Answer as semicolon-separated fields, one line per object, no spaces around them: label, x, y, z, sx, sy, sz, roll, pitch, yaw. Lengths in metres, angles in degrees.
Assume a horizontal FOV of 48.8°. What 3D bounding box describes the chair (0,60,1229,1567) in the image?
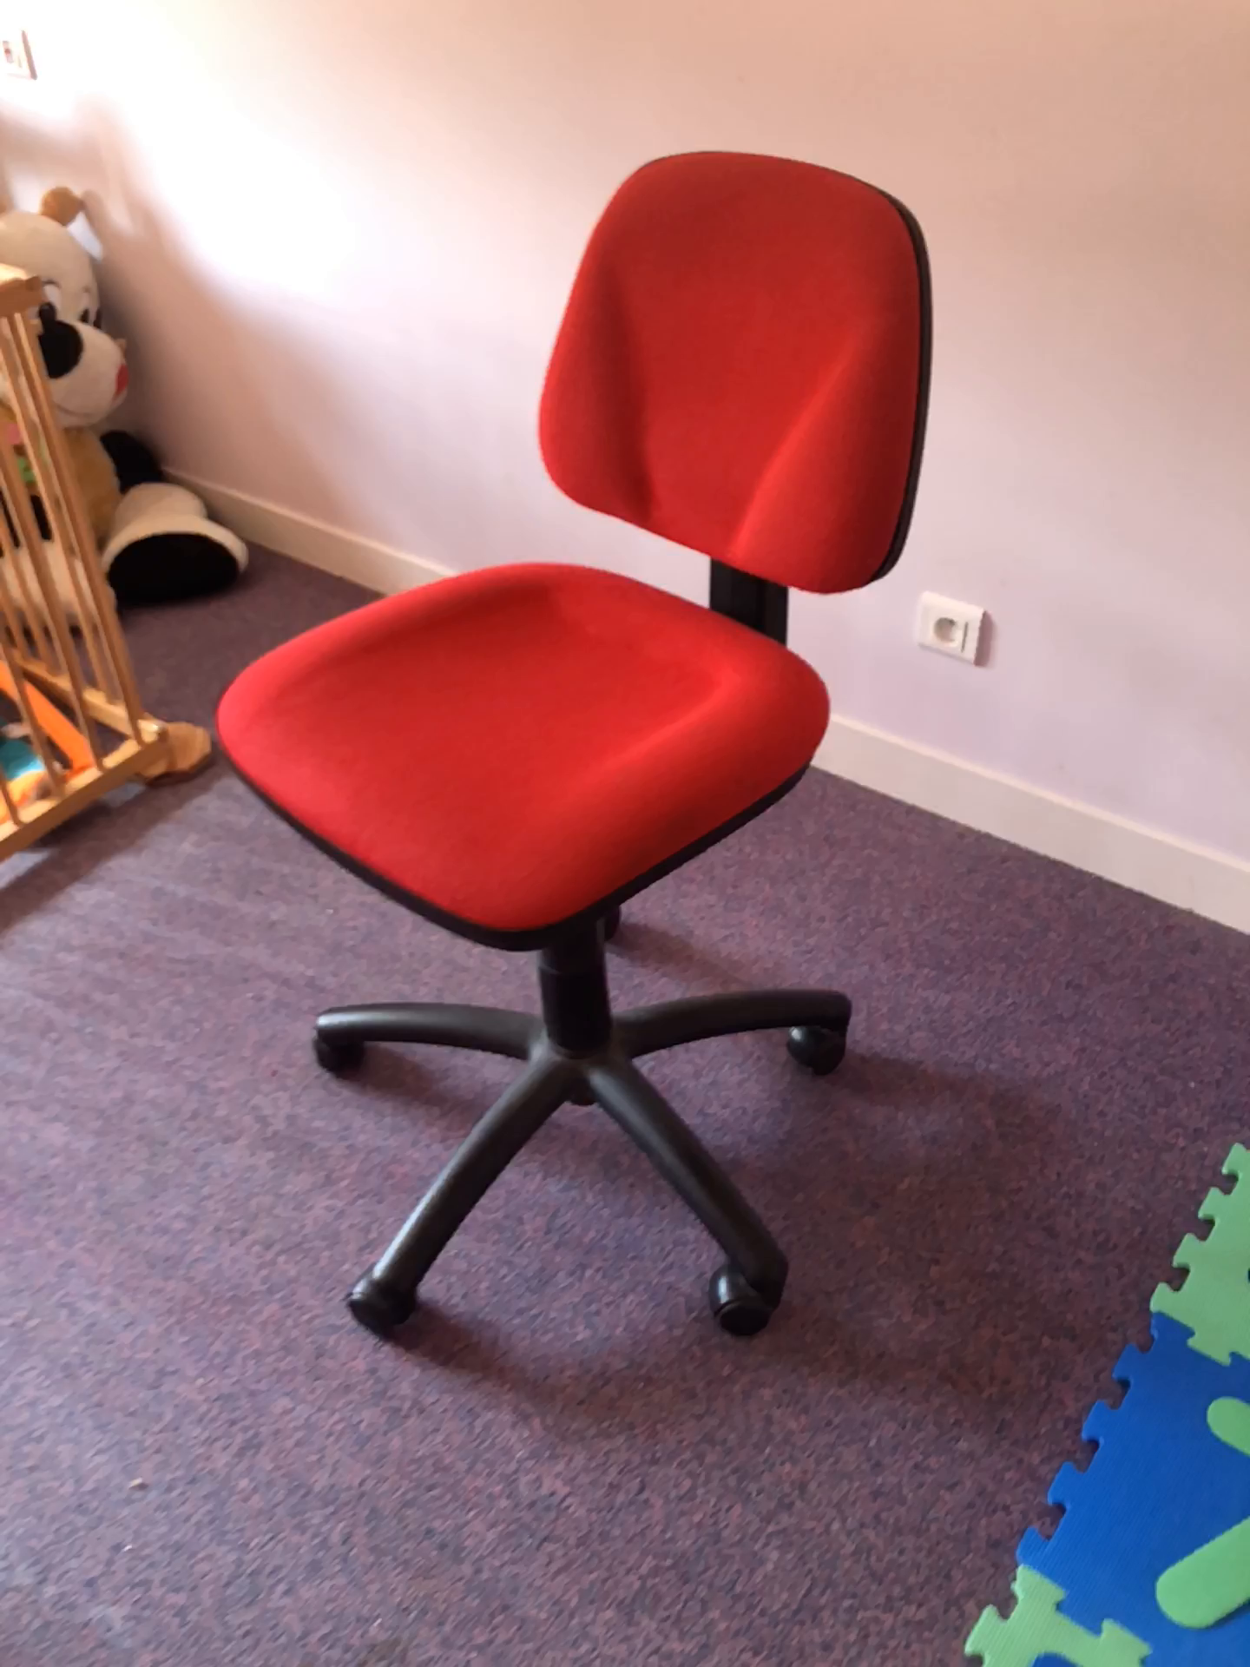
chair;-0.056;-0.068;1.170;0.641;0.894;0.674;30;48;35
